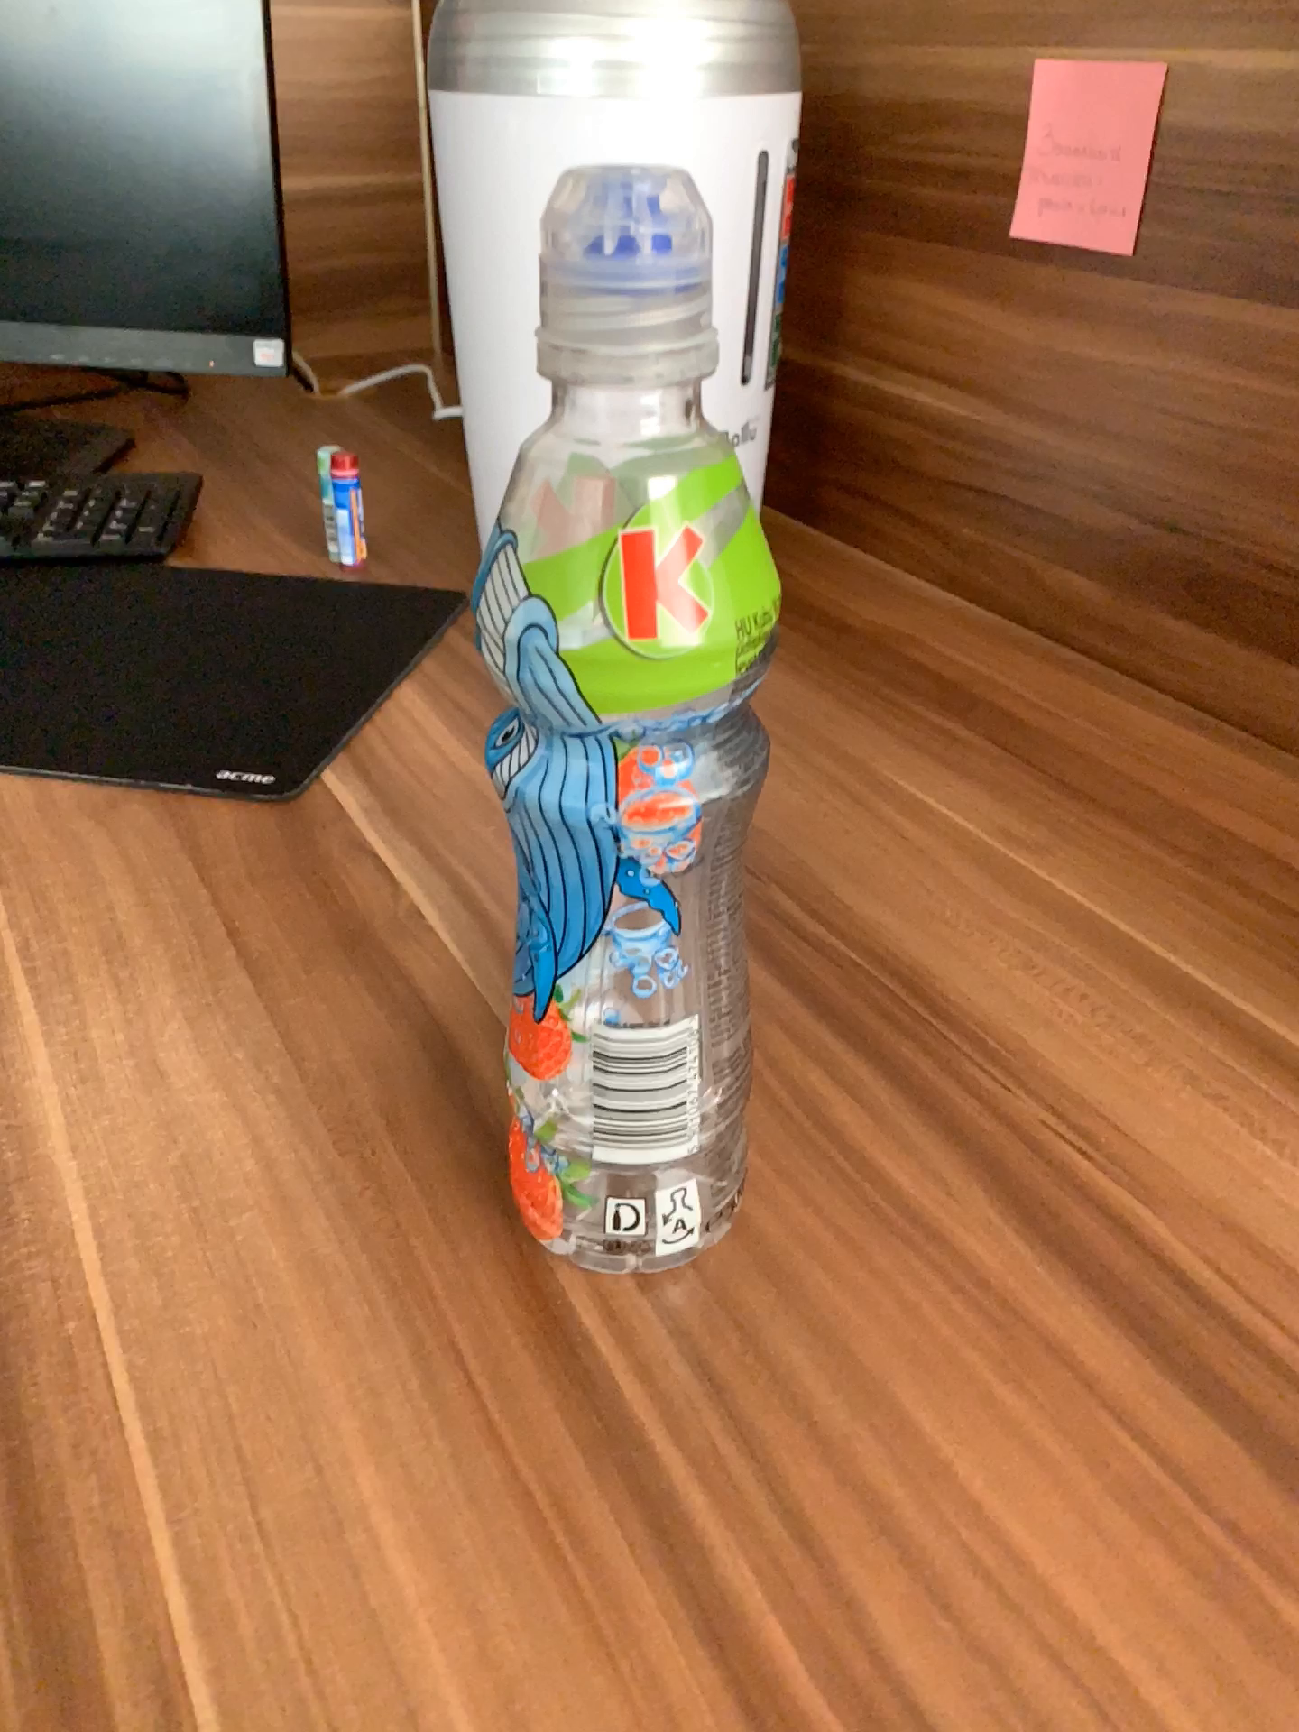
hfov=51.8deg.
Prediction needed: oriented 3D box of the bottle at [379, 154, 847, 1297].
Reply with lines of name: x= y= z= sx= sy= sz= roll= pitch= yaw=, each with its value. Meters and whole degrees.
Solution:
bottle: x=-0.008 y=-0.017 z=0.292 sx=0.070 sy=0.239 sz=0.070 roll=0 pitch=31 yaw=0
